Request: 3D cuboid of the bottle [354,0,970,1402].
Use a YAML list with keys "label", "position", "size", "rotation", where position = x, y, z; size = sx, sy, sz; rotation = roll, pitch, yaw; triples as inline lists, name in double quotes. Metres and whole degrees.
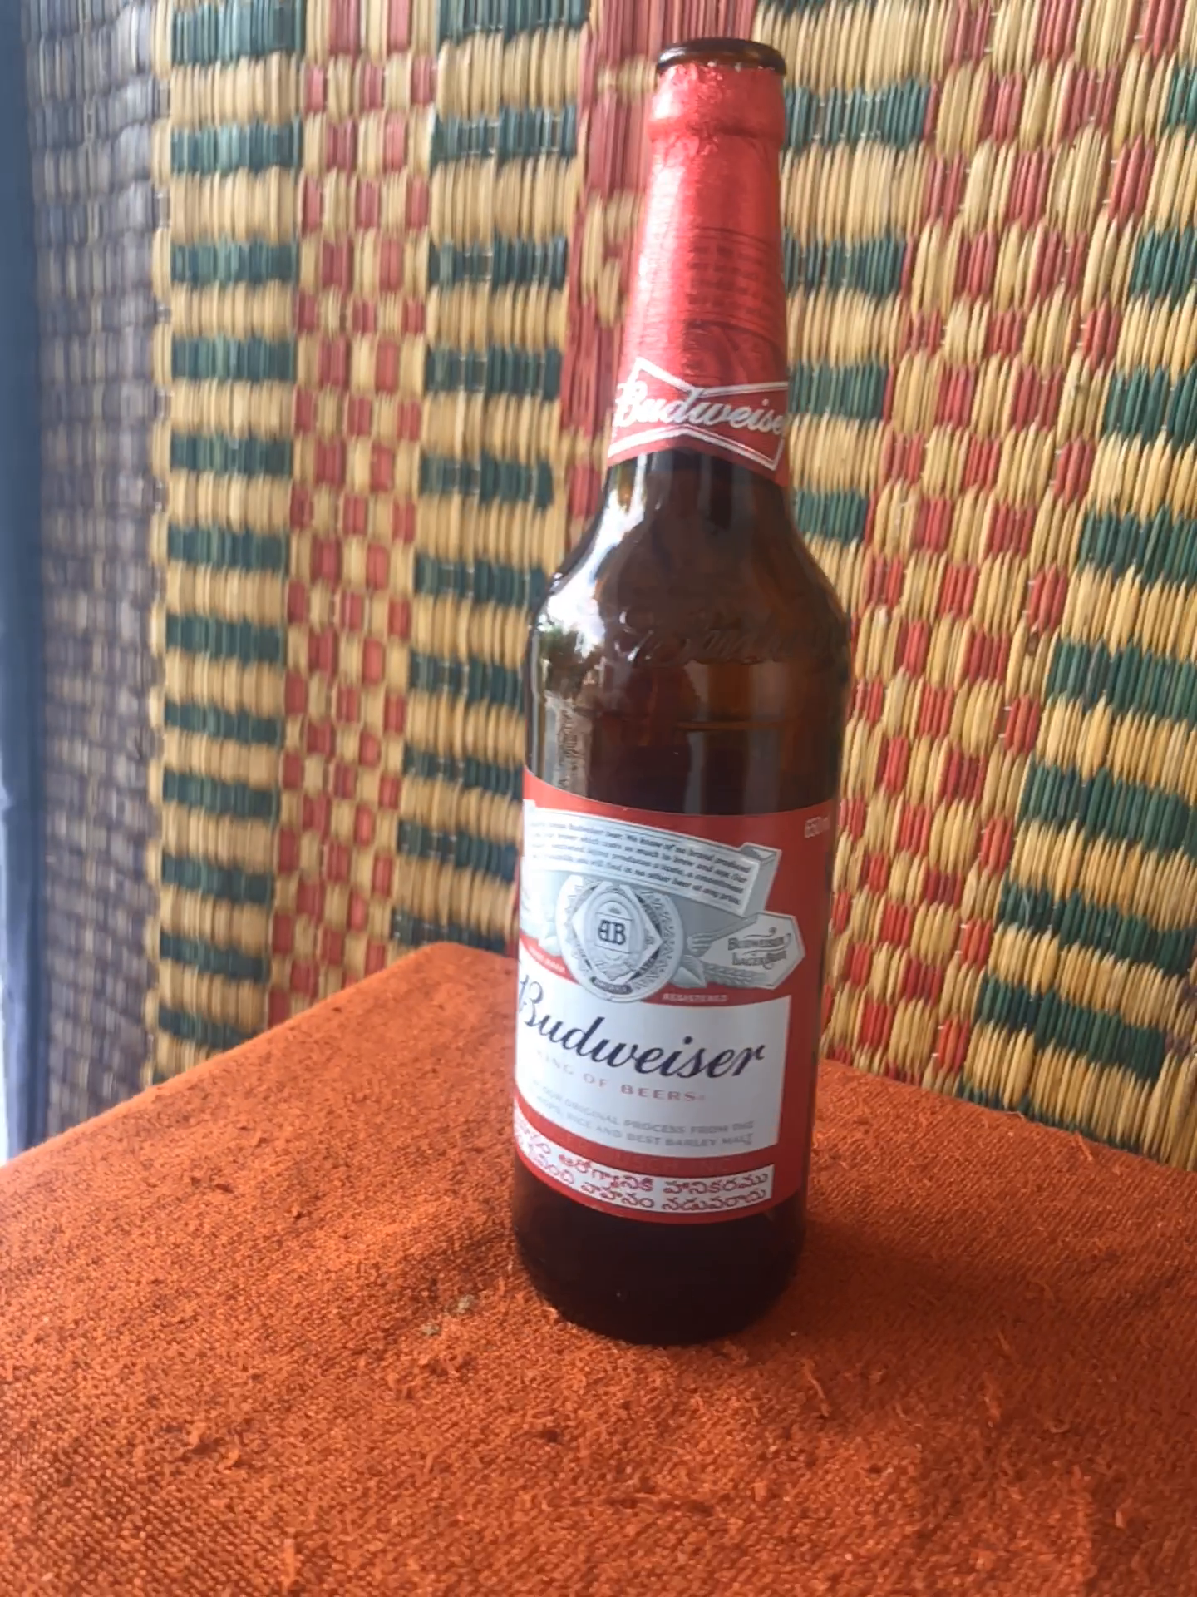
- label: "bottle"
  position: [0.008, -0.017, 0.284]
  size: [0.090, 0.259, 0.070]
  rotation: [12, 21, 28]
